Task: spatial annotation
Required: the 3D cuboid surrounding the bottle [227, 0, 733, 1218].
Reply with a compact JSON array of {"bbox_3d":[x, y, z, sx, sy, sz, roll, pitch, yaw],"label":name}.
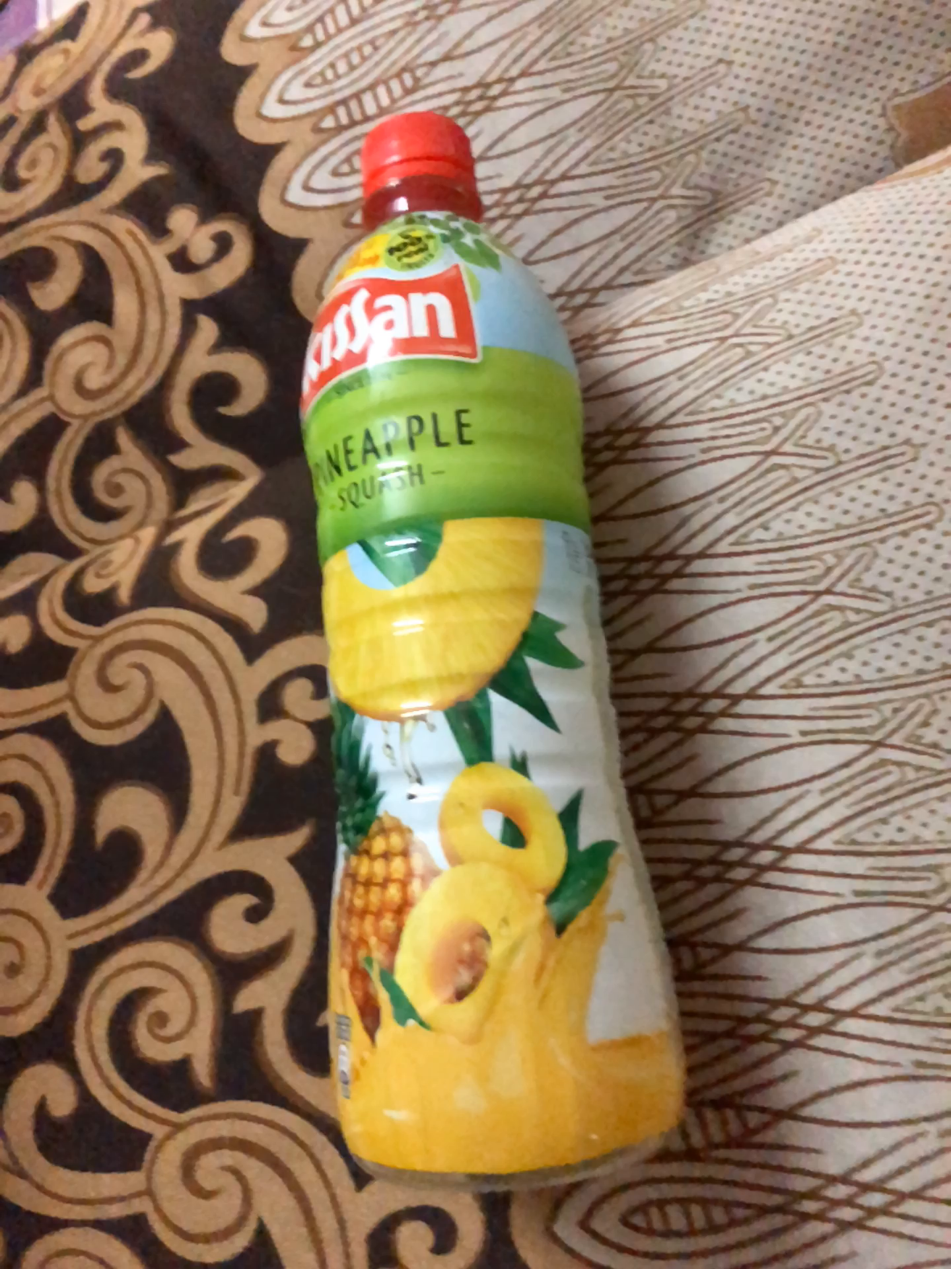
[{"bbox_3d":[-0.002,-0.015,0.232,0.070,0.060,0.240,-11,77,23],"label":"bottle"}]
